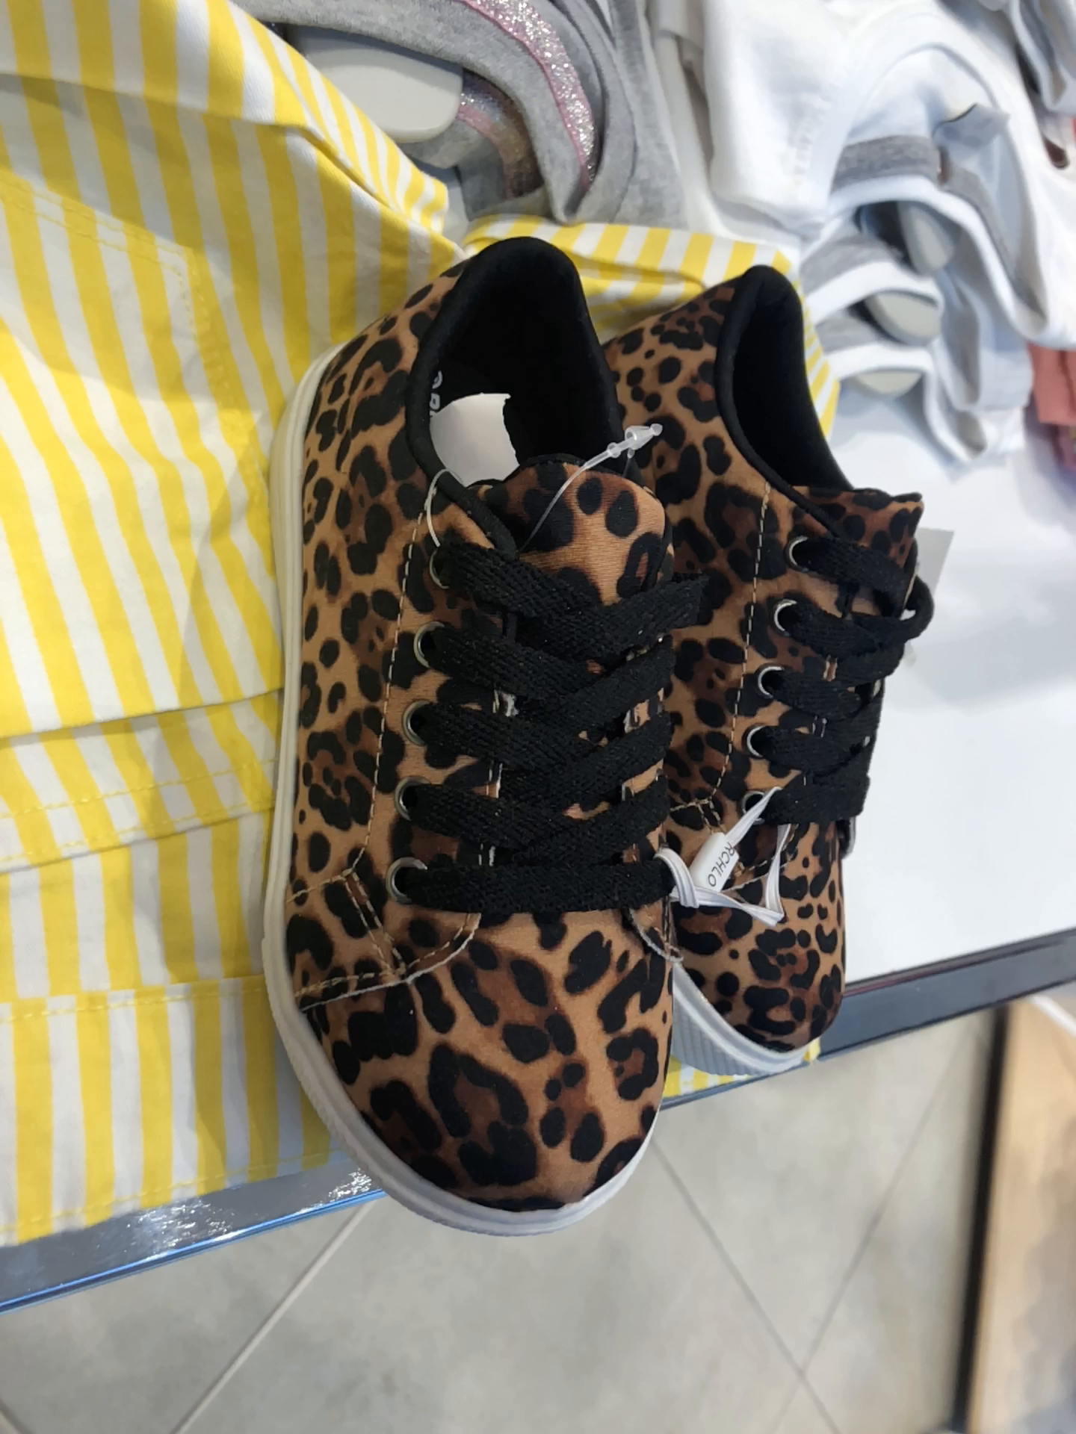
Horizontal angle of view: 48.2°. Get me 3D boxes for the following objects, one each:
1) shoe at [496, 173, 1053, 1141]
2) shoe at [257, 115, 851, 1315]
[{"bbox_3d":[0.049,-0.008,0.264,0.081,0.079,0.170,6,79,-44],"label":"shoe"},{"bbox_3d":[-0.004,-0.002,0.209,0.080,0.060,0.170,-1,83,-17],"label":"shoe"}]
